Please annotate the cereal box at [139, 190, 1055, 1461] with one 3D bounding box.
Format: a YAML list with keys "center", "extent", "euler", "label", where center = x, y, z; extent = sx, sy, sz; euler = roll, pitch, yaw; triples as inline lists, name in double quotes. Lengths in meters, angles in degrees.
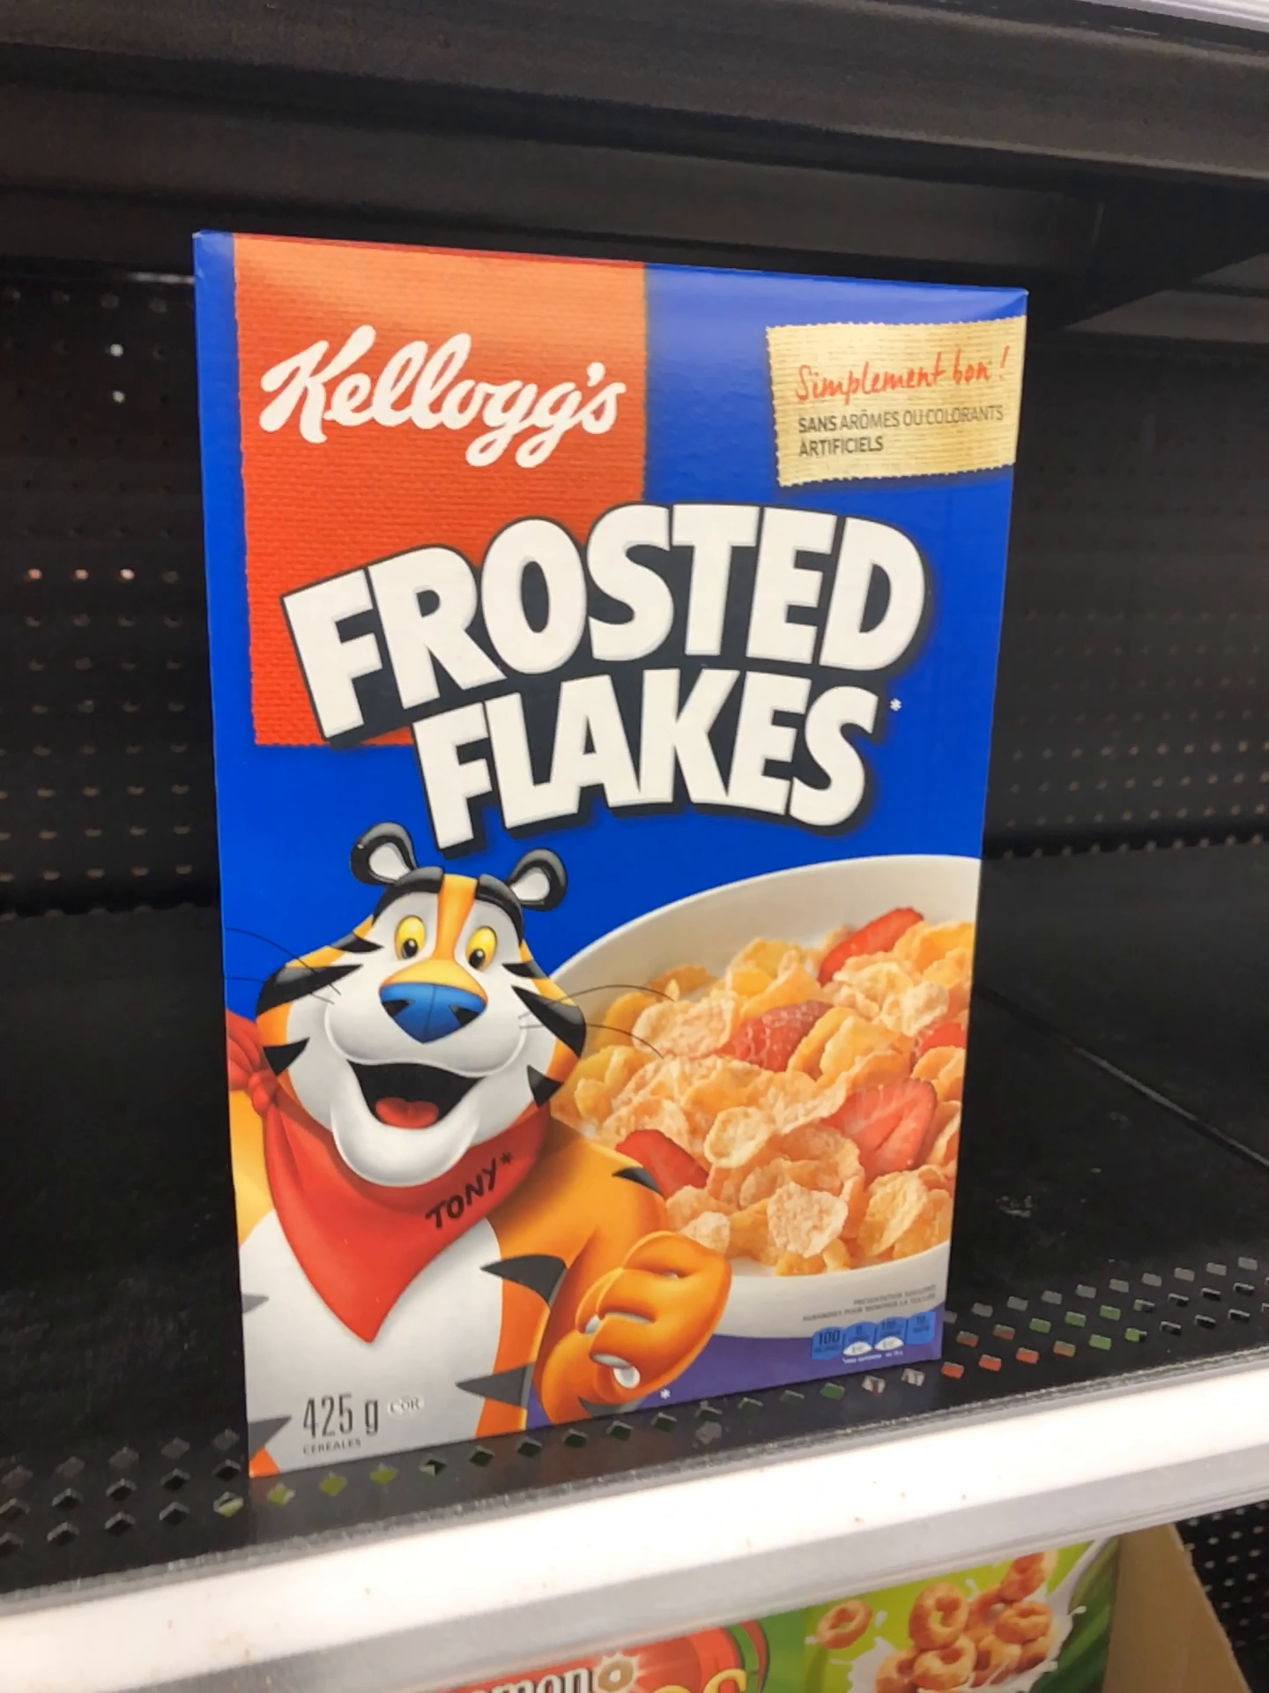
- center: [-0.010, -0.003, 0.371]
  extent: [0.210, 0.289, 0.060]
  euler: [-3, 14, -17]
  label: "cereal box"
